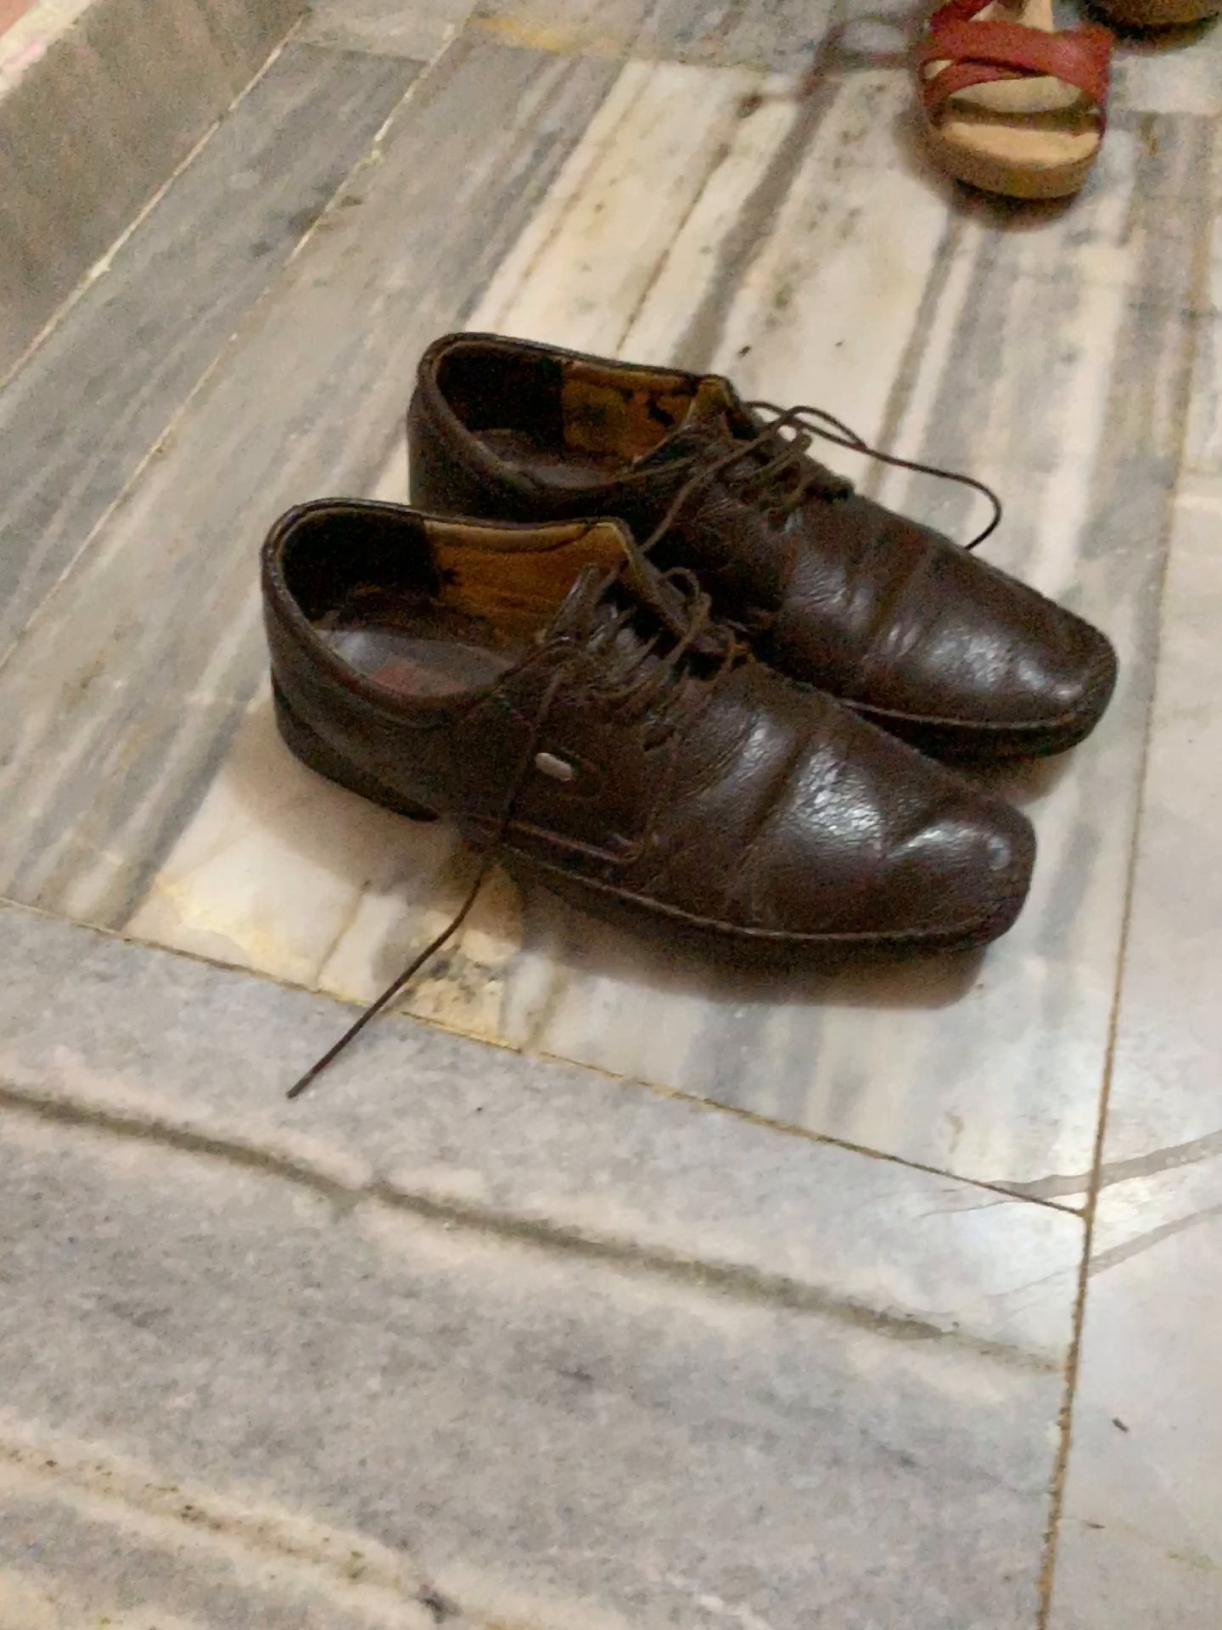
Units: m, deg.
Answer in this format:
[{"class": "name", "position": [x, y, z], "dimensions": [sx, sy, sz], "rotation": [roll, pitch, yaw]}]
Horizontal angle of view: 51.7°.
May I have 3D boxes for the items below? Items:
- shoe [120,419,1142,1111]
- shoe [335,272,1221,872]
[{"class": "shoe", "position": [0.002, -0.021, 0.414], "dimensions": [0.283, 0.110, 0.100], "rotation": [20, 61, 17]}, {"class": "shoe", "position": [0.057, -0.094, 0.466], "dimensions": [0.283, 0.110, 0.100], "rotation": [20, 61, 17]}]
